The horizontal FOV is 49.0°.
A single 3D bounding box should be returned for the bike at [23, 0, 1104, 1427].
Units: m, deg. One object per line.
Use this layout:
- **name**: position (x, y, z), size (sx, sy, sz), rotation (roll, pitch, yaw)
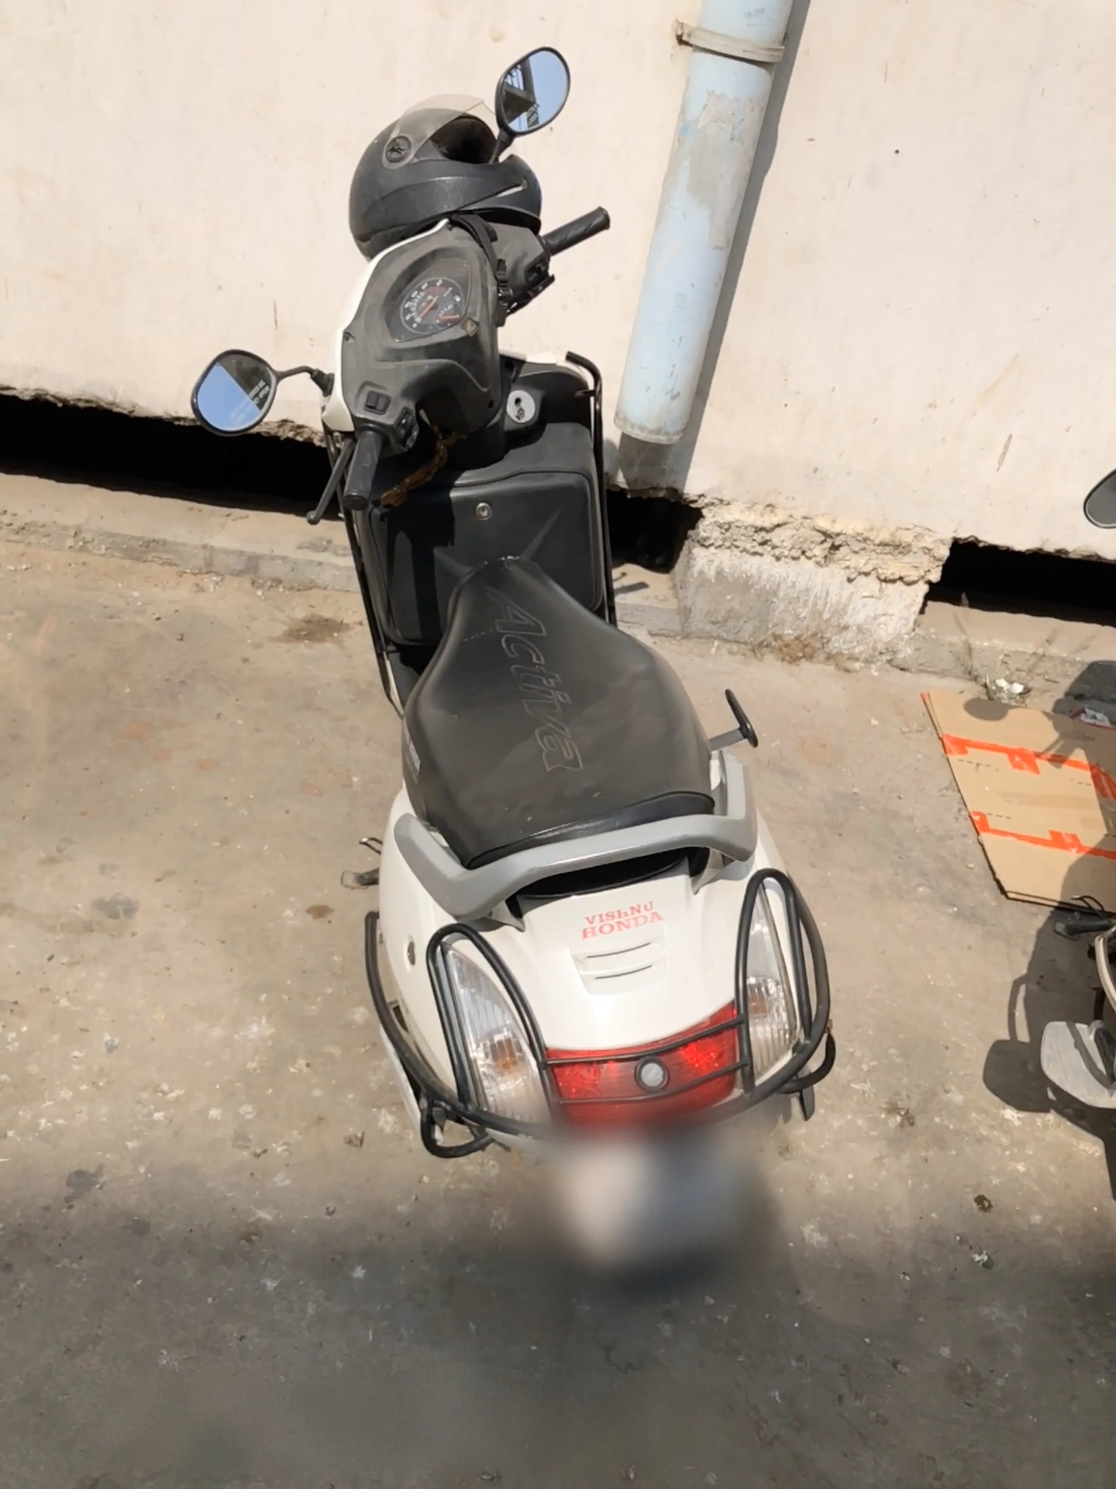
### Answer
- **bike**: position (-0.235, -0.105, 1.604), size (0.625, 1.122, 1.305), rotation (-6, 41, -25)
